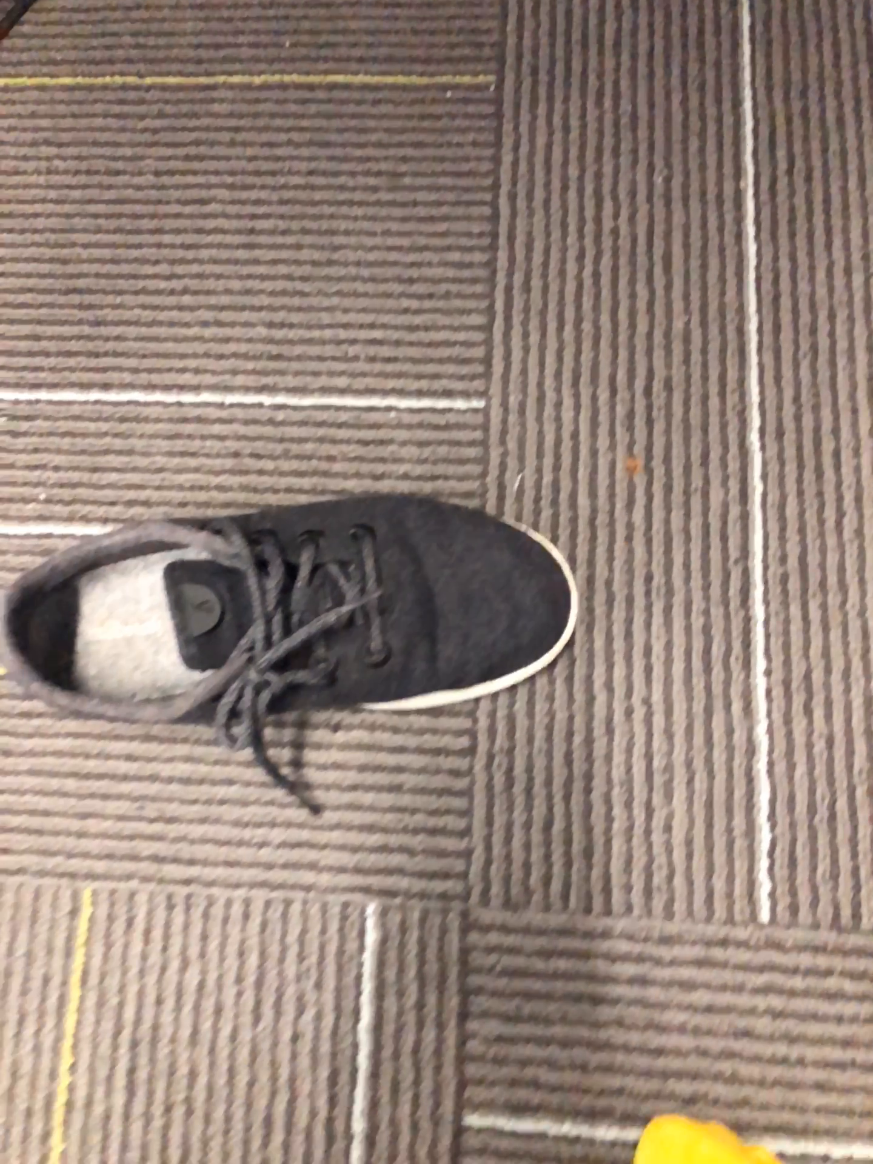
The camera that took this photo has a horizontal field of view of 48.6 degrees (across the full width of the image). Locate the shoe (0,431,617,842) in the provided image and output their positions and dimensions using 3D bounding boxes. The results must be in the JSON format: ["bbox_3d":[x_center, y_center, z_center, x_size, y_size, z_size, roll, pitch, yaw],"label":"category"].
[{"bbox_3d":[-0.074,0.027,0.430,0.280,0.060,0.140,-7,76,3],"label":"shoe"}]
